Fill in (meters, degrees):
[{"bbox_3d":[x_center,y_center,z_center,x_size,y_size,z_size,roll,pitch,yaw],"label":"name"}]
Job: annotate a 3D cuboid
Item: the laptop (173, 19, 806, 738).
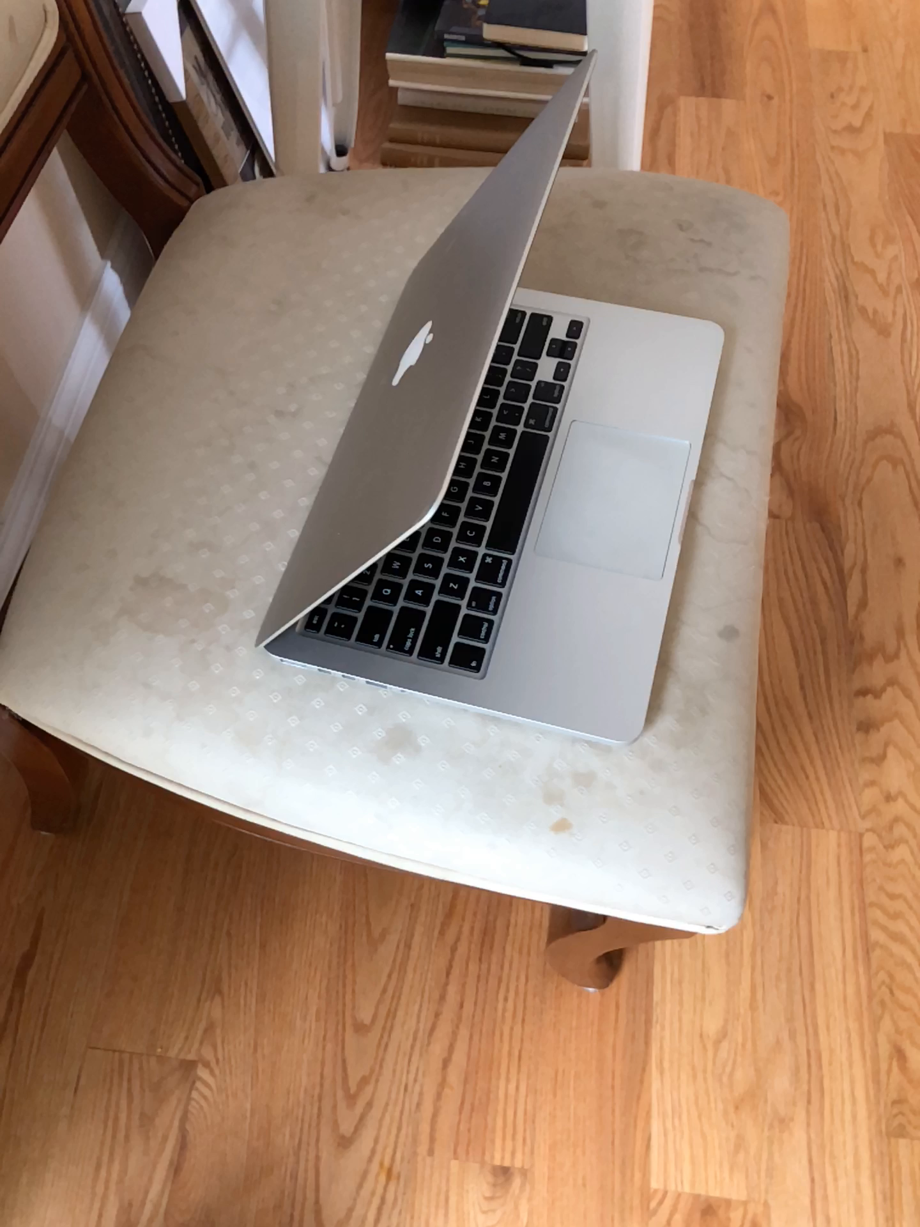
[{"bbox_3d":[0.030,-0.130,0.548,0.218,0.183,0.310,13,62,9],"label":"laptop"}]
